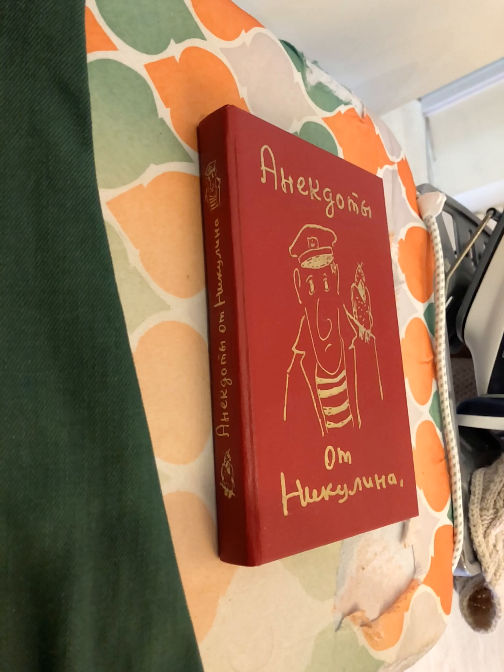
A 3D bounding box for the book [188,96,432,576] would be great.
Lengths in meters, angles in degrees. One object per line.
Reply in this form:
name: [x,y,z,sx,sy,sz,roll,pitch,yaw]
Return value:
book: [0.036,-0.001,0.297,0.141,0.030,0.207,5,77,-45]
